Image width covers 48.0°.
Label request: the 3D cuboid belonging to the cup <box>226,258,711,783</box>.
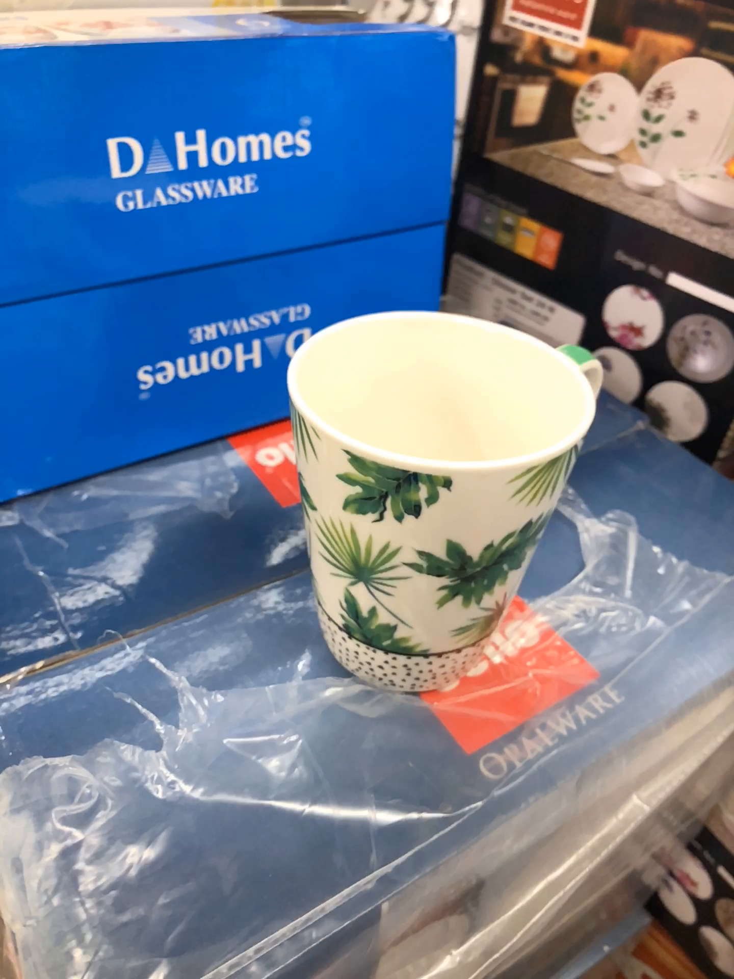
[{"bbox_3d":[0.029,0.002,0.264,0.080,0.099,0.121,34,47,30],"label":"cup"}]
